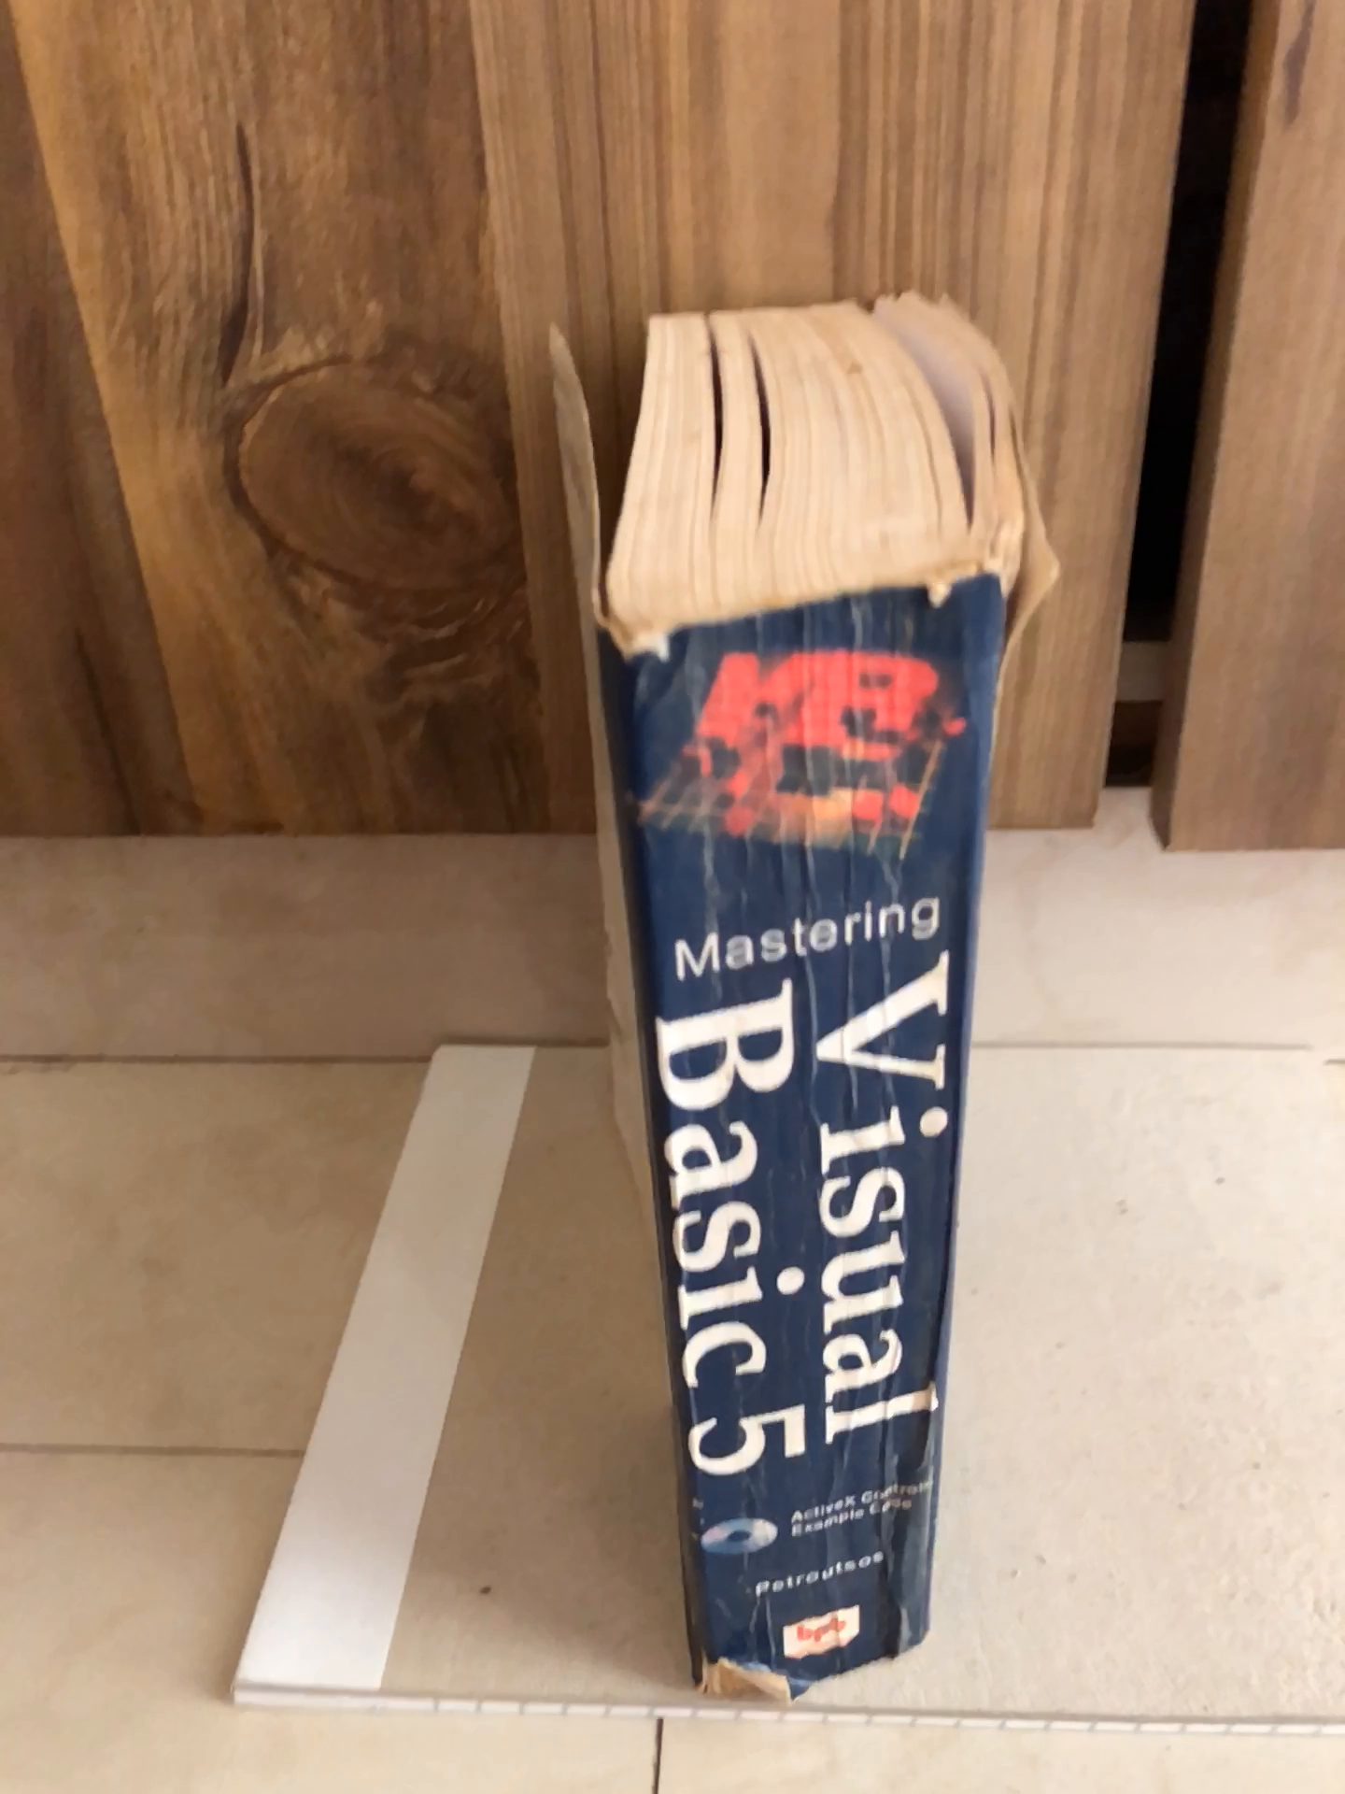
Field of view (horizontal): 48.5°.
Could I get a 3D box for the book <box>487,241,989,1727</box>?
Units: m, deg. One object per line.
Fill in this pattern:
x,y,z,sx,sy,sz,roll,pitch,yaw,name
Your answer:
0.015,0.007,0.332,0.060,0.249,0.211,-6,32,1,book
